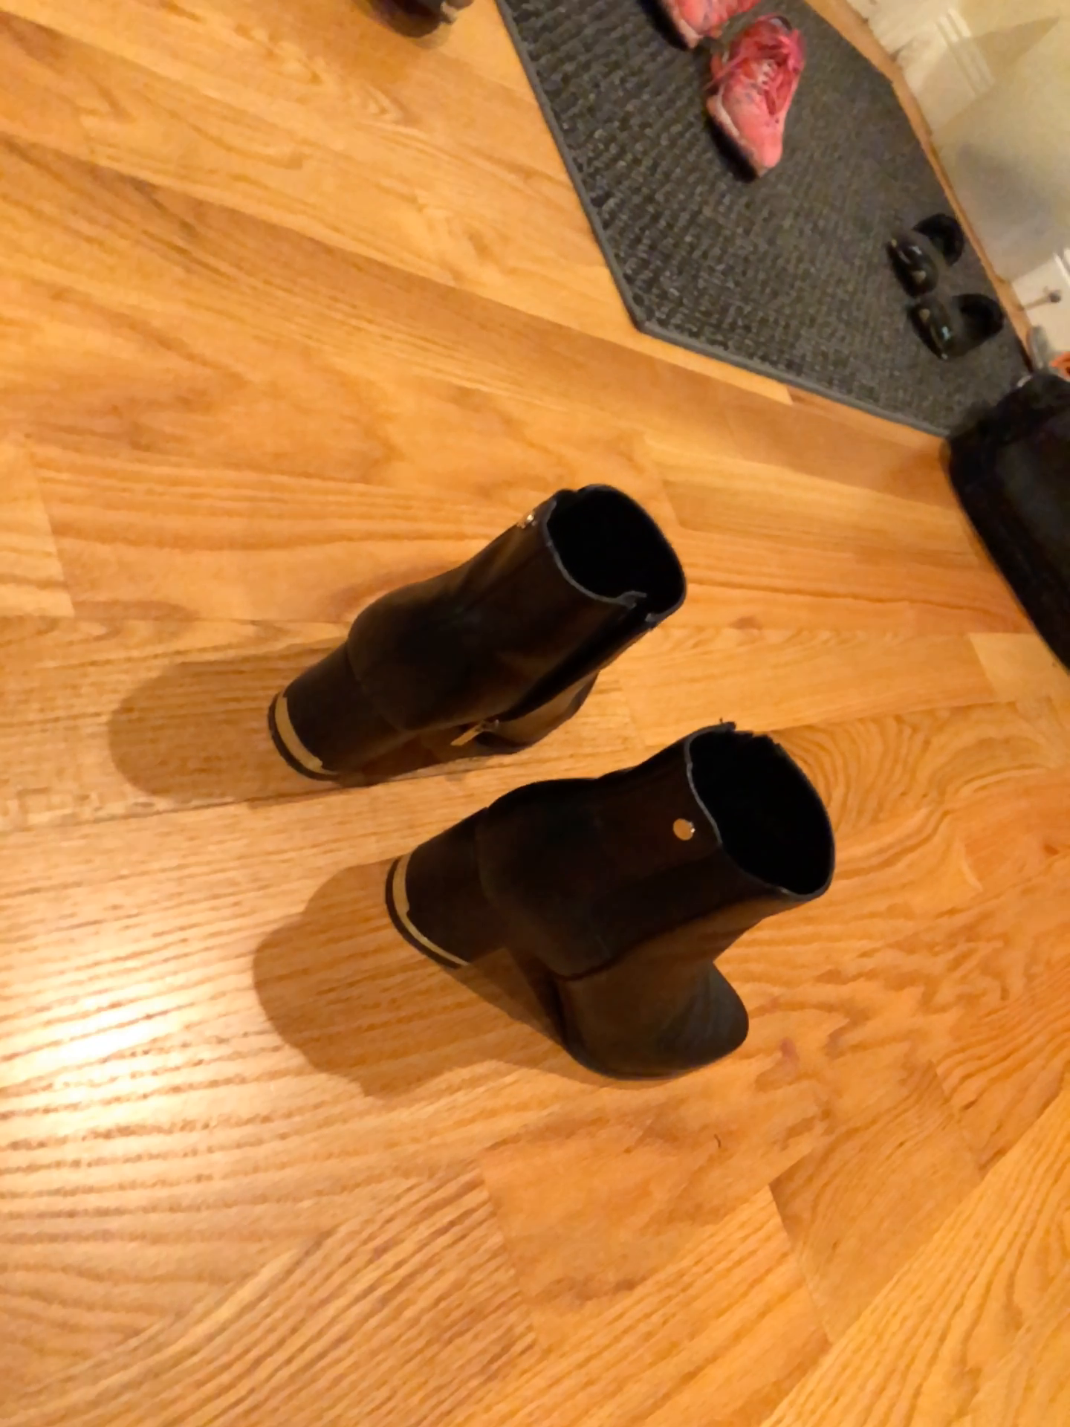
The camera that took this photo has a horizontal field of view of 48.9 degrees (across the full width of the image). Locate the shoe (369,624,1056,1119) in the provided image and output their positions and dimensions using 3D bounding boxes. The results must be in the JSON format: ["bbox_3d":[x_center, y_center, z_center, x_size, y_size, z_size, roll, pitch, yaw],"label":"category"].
[{"bbox_3d":[0.083,0.091,0.532,0.253,0.172,0.097,29,46,-35],"label":"shoe"}]

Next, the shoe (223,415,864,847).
[{"bbox_3d":[0.017,-0.048,0.551,0.254,0.172,0.092,-23,84,-54],"label":"shoe"}]
